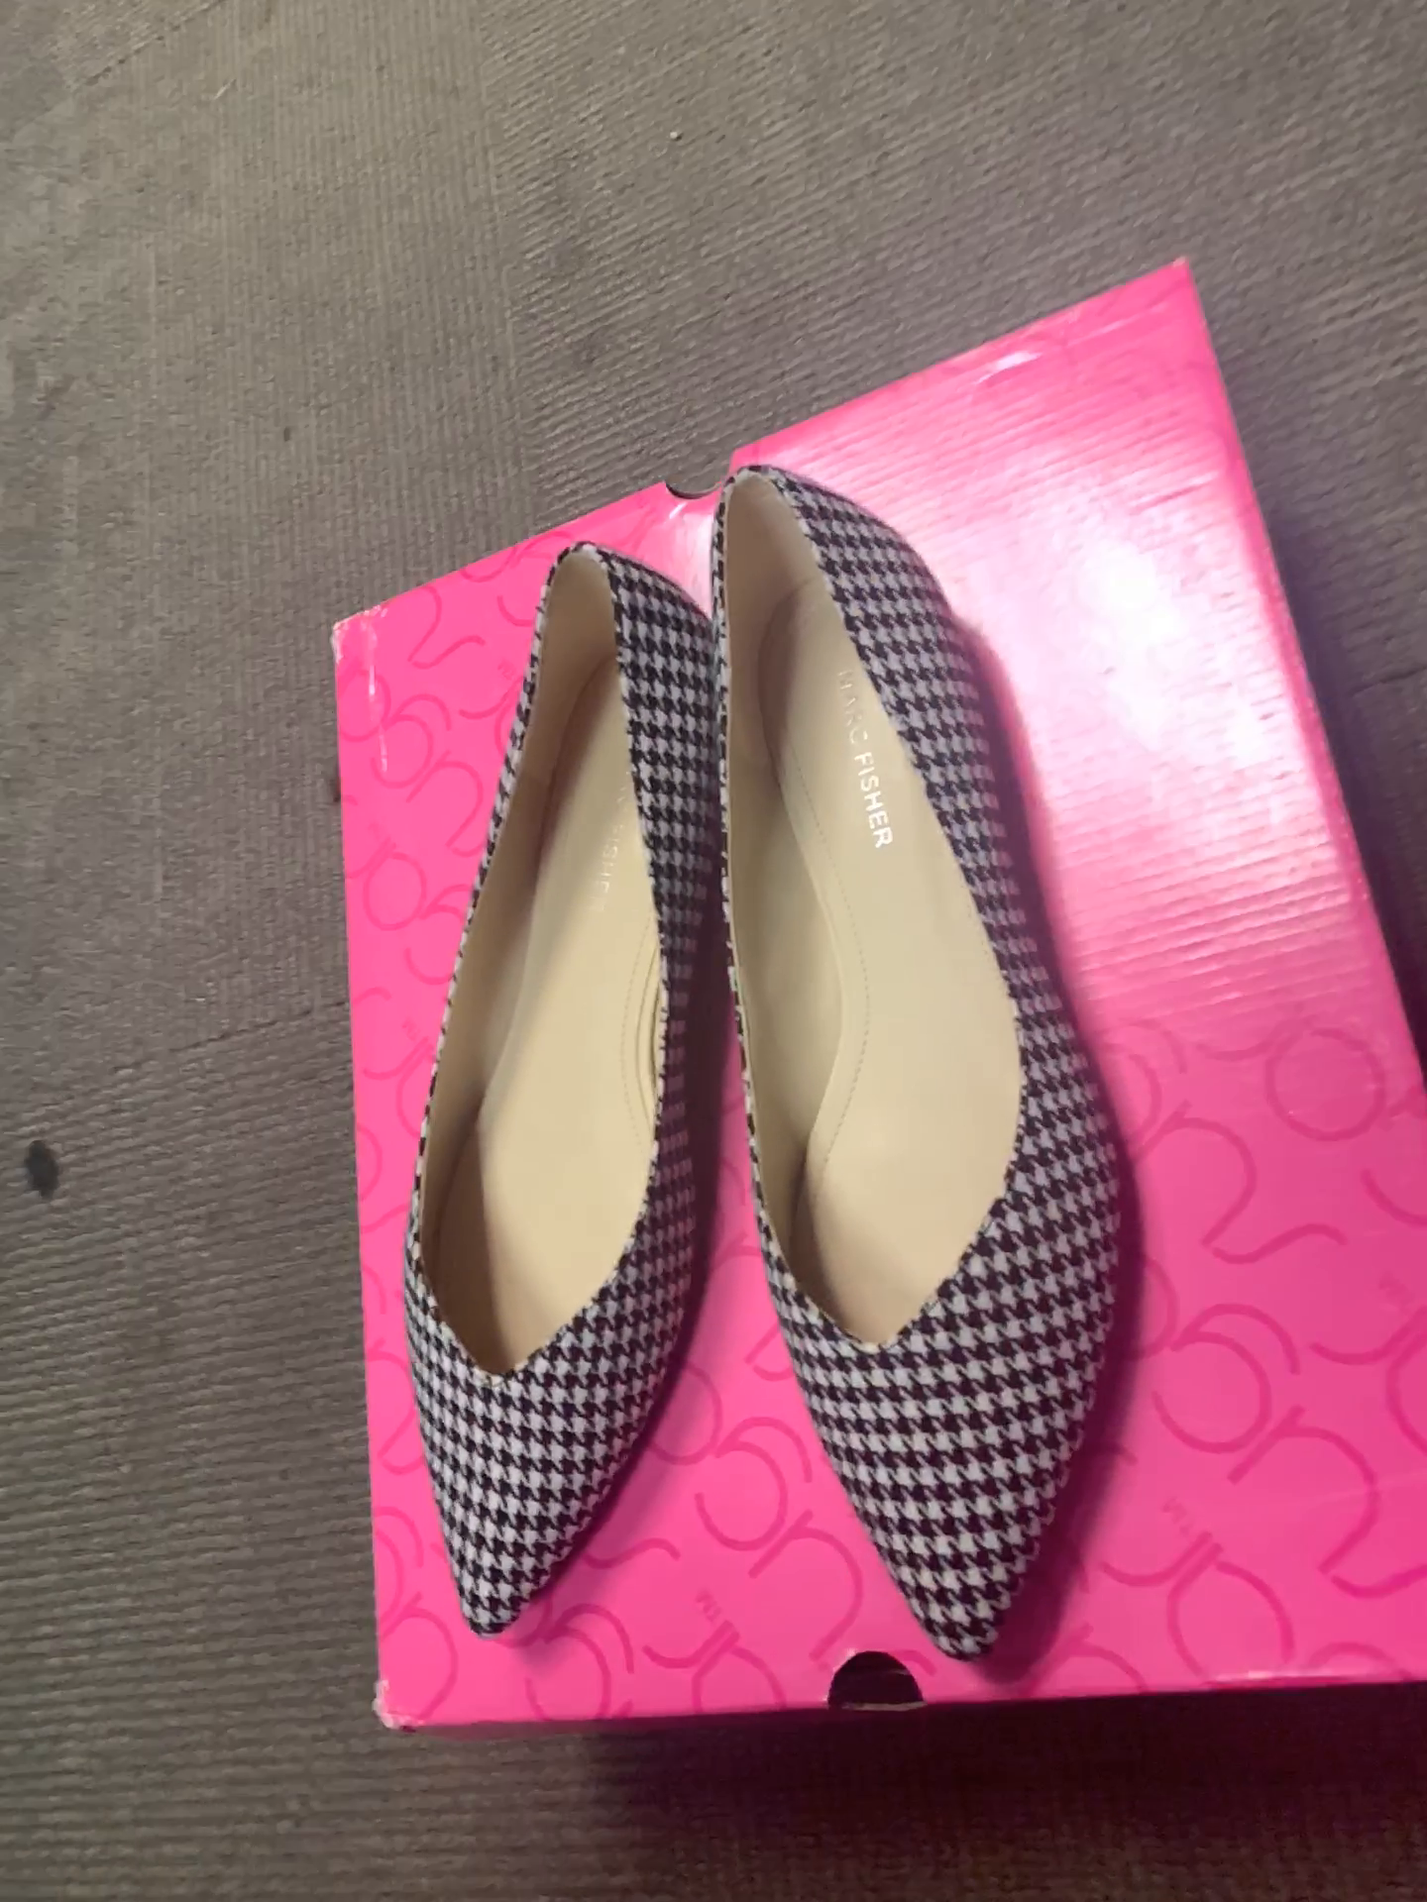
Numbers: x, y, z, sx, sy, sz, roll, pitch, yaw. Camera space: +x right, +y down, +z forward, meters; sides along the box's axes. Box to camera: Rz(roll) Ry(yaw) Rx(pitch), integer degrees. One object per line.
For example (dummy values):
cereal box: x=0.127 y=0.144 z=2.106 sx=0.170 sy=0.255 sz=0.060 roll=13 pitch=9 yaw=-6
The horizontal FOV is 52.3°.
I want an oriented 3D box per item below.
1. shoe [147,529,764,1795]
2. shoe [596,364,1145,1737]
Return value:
shoe: x=-0.056 y=0.039 z=0.354 sx=0.080 sy=0.060 sz=0.270 roll=3 pitch=78 yaw=28
shoe: x=0.029 y=0.015 z=0.330 sx=0.080 sy=0.060 sz=0.280 roll=-12 pitch=71 yaw=24
